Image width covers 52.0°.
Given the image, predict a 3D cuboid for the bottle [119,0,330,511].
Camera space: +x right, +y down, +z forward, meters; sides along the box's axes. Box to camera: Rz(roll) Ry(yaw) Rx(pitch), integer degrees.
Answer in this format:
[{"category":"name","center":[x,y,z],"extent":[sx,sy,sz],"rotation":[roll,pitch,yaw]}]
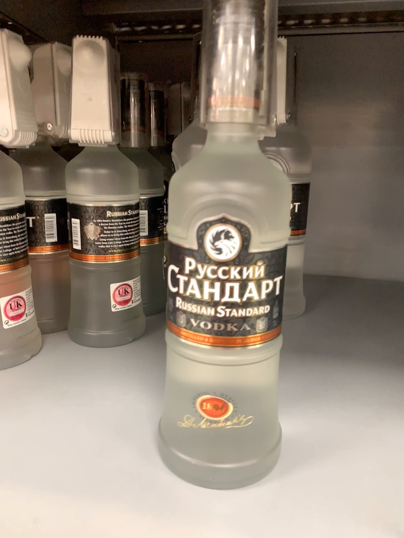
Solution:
[{"category":"bottle","center":[0.015,-0.017,0.253],"extent":[0.092,0.288,0.088],"rotation":[1,14,0]}]
